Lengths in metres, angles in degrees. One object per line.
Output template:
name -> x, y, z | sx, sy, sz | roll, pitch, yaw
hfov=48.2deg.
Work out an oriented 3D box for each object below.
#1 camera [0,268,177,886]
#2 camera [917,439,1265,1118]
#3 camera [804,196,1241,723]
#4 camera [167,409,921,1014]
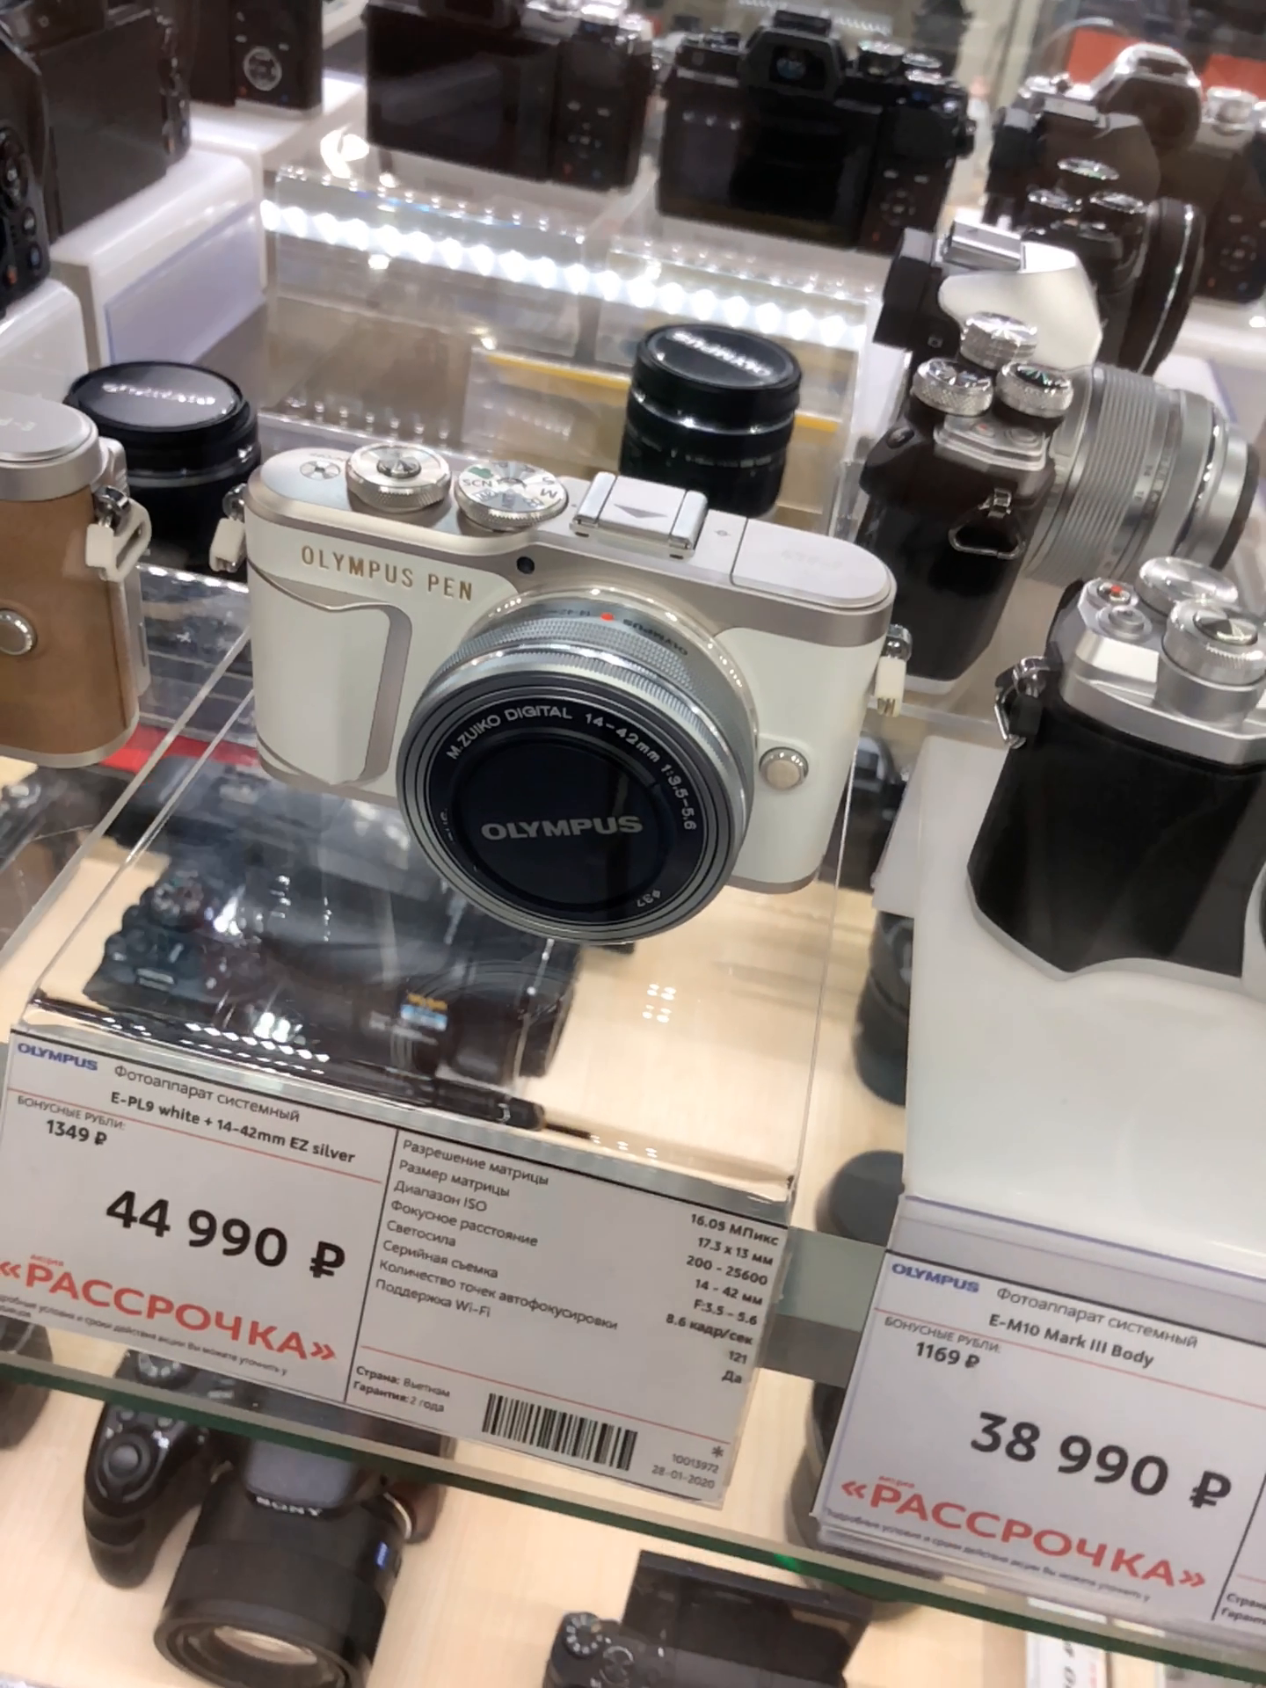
camera -> -0.138, -0.047, 0.249 | 0.087, 0.072, 0.061 | 11, 40, 2
camera -> 0.111, -0.011, 0.229 | 0.114, 0.072, 0.053 | 11, 40, 3
camera -> 0.088, -0.097, 0.343 | 0.072, 0.072, 0.115 | 12, 40, 3
camera -> -0.014, -0.024, 0.252 | 0.114, 0.070, 0.053 | 11, 40, 3
